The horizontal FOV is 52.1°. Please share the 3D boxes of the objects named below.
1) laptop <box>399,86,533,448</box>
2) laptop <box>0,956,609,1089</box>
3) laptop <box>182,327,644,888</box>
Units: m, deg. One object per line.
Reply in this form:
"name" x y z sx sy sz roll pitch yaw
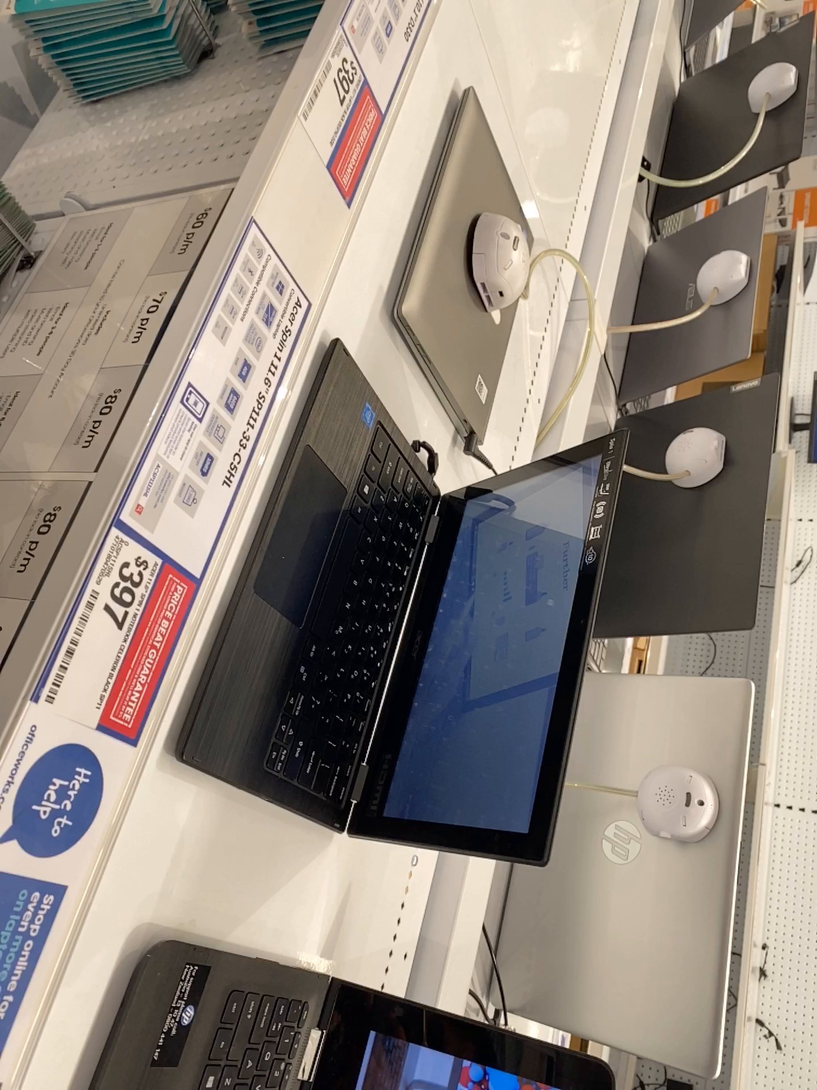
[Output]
"laptop" 0.065 -0.257 0.786 0.195 0.001 0.284 50 47 -52
"laptop" -0.036 0.446 0.463 0.298 0.190 0.323 50 49 -53
"laptop" 0.030 0.041 0.555 0.197 0.174 0.290 51 49 -52
